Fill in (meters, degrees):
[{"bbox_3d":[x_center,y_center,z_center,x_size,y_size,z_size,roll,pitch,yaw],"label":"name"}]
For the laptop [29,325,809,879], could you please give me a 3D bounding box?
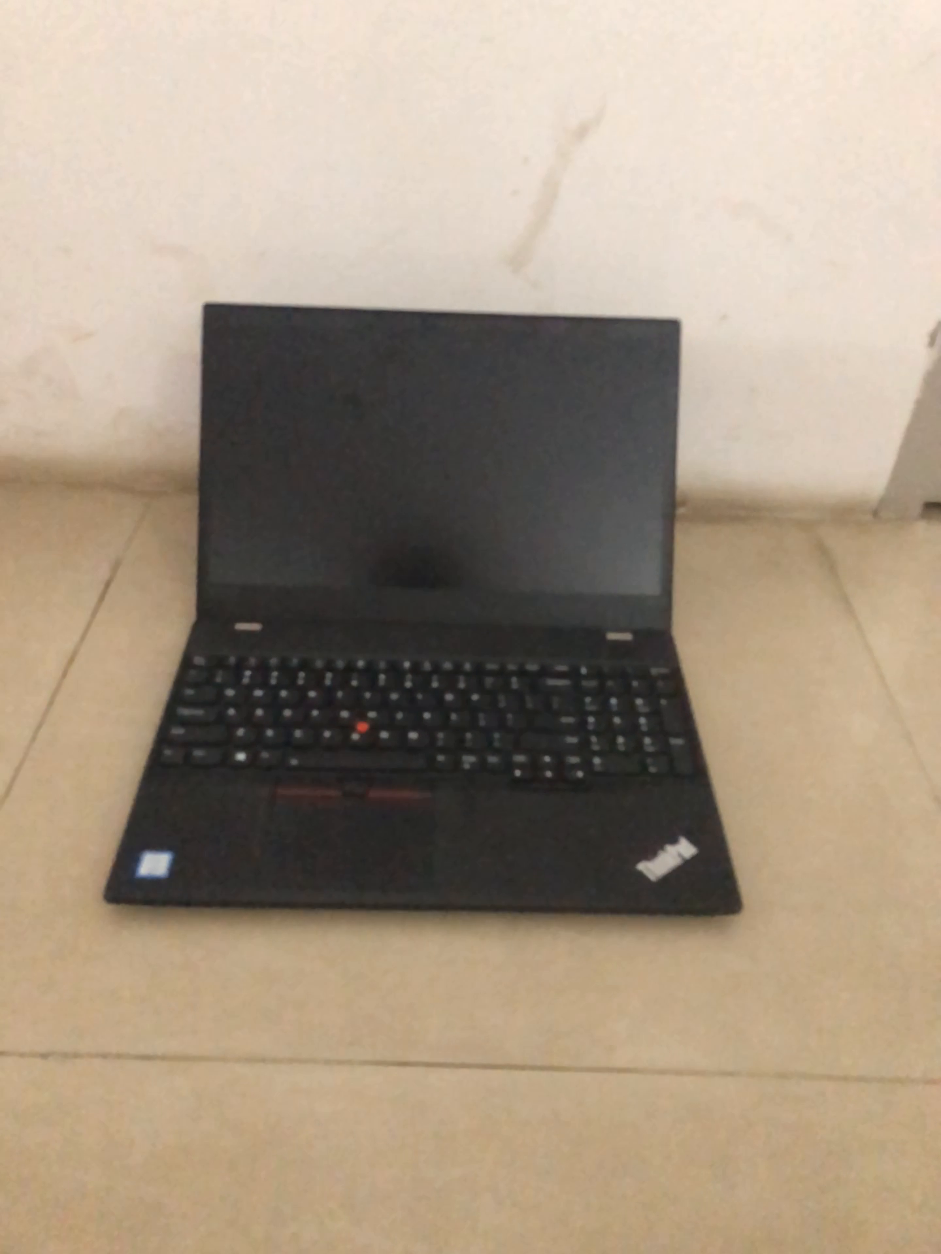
[{"bbox_3d":[-0.033,-0.038,0.662,0.344,0.192,0.364,2,34,-4],"label":"laptop"}]
